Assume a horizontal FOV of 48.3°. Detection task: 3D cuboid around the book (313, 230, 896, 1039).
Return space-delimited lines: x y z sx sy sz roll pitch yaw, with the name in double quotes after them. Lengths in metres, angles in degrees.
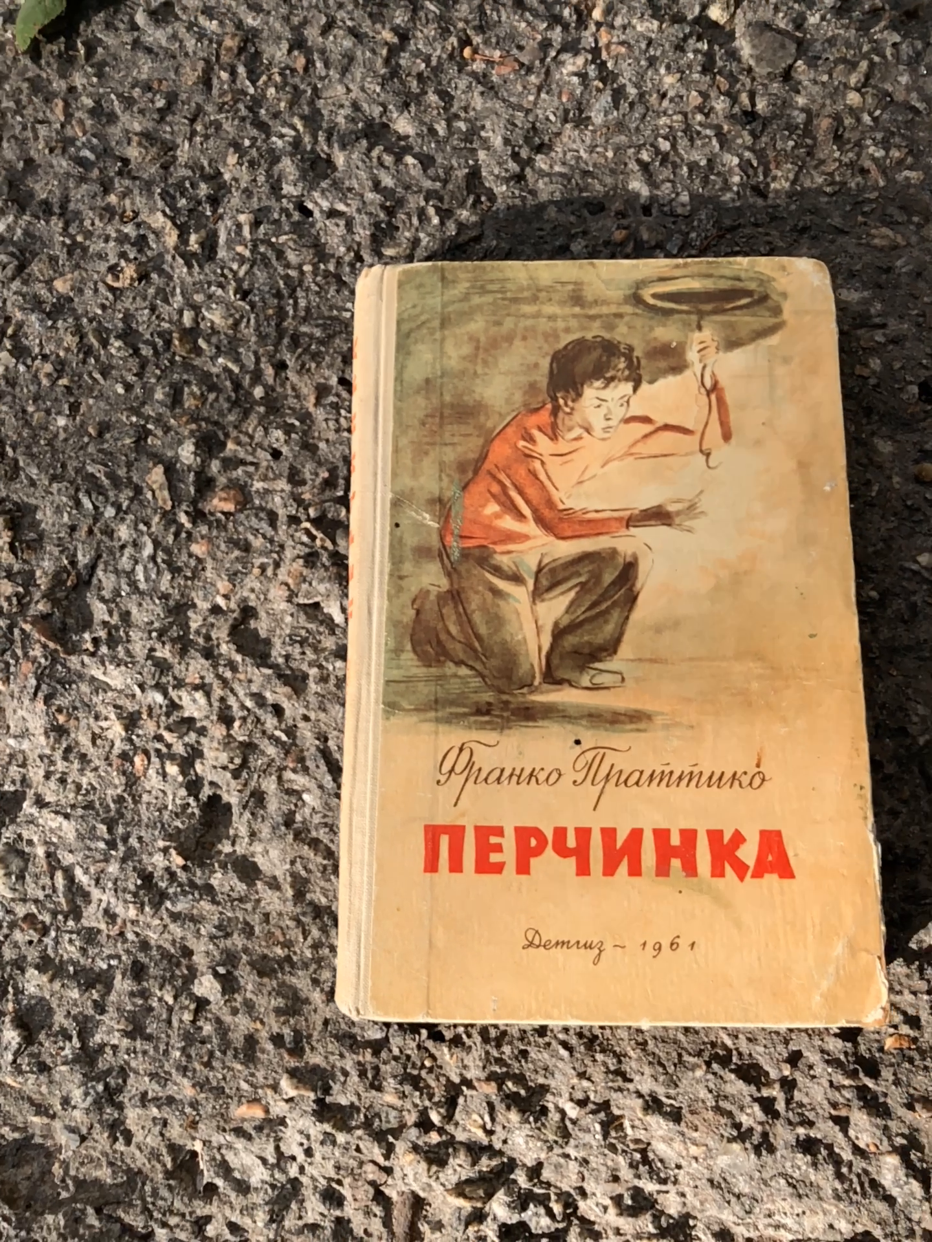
0.033 -0.002 0.272 0.132 0.030 0.203 1 77 1 "book"
